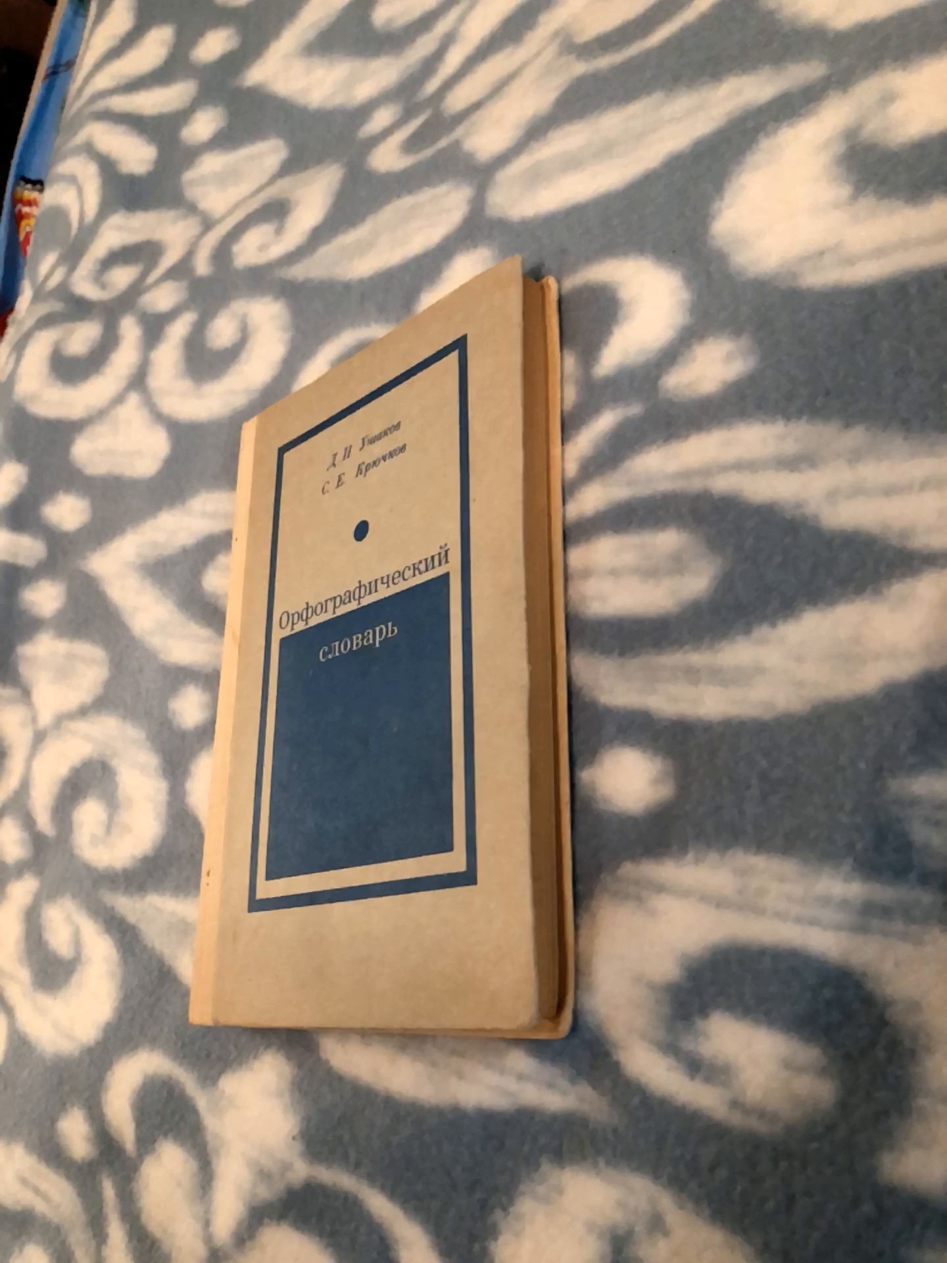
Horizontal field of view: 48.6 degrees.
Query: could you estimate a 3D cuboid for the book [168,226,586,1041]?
[{"bbox_3d":[-0.031,0.005,0.306,0.137,0.022,0.210,-18,63,41],"label":"book"}]
